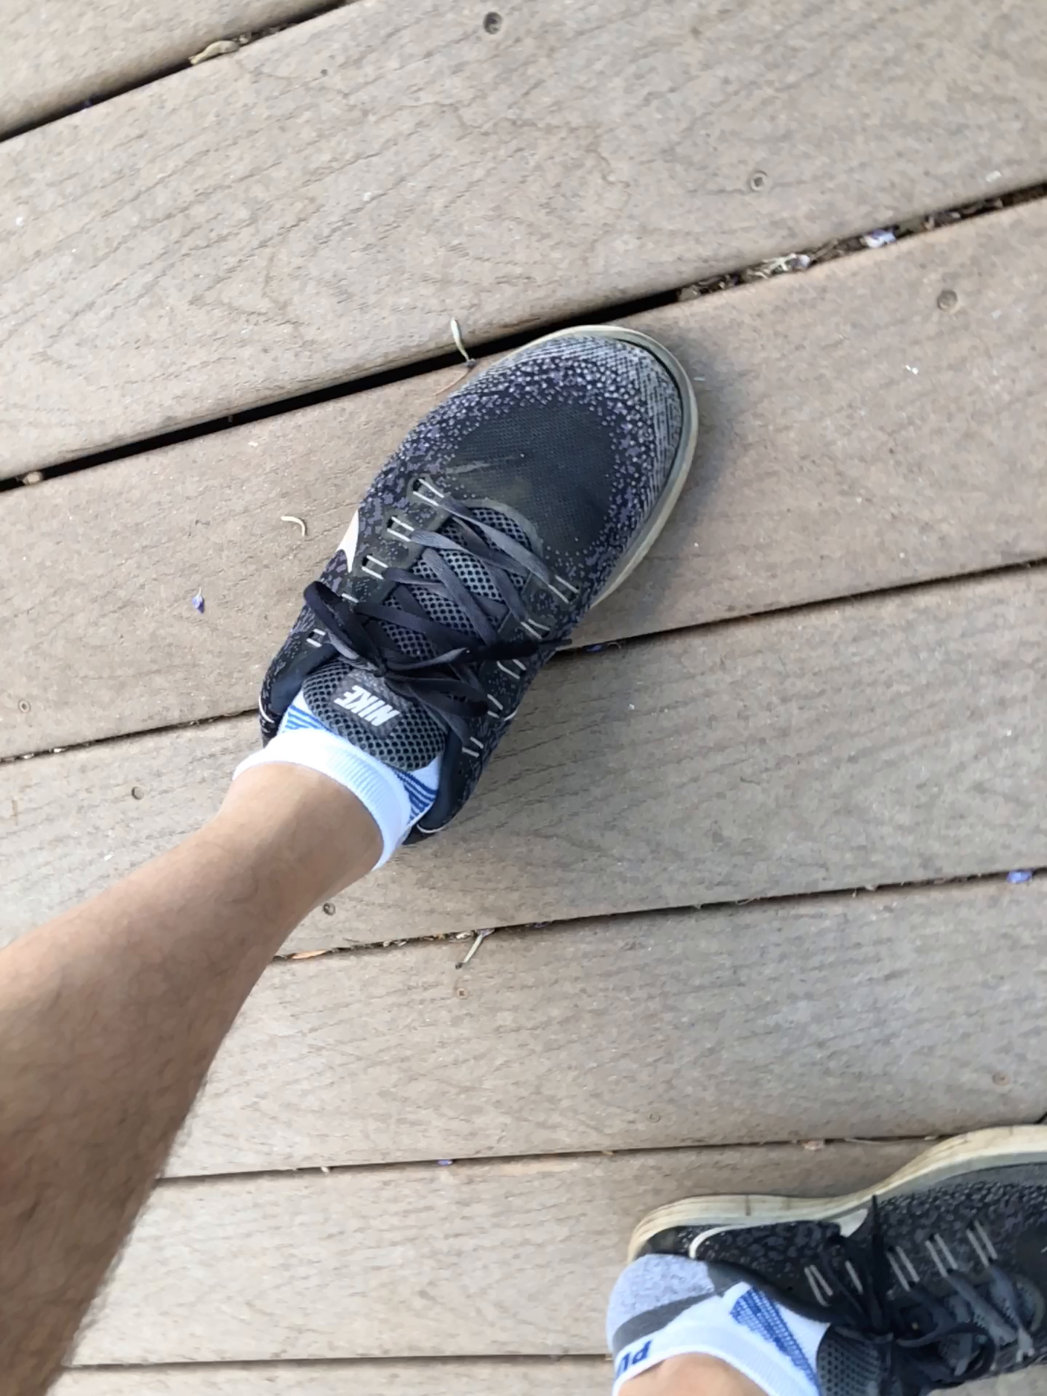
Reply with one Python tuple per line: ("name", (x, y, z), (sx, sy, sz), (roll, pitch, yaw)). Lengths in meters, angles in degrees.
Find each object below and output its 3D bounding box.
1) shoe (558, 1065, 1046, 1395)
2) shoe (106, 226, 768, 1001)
("shoe", (0.193, 0.299, 0.580), (0.320, 0.090, 0.120), (-19, 103, 16))
("shoe", (-0.041, -0.028, 0.504), (0.120, 0.090, 0.311), (37, 110, -1))
